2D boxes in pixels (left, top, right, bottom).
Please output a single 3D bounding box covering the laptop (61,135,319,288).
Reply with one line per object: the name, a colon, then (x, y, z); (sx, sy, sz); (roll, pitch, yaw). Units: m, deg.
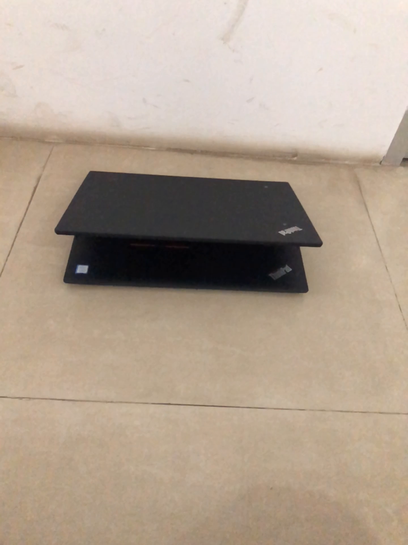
laptop: (-0.020, -0.102, 0.707); (0.349, 0.071, 0.237); (3, 52, -3)
